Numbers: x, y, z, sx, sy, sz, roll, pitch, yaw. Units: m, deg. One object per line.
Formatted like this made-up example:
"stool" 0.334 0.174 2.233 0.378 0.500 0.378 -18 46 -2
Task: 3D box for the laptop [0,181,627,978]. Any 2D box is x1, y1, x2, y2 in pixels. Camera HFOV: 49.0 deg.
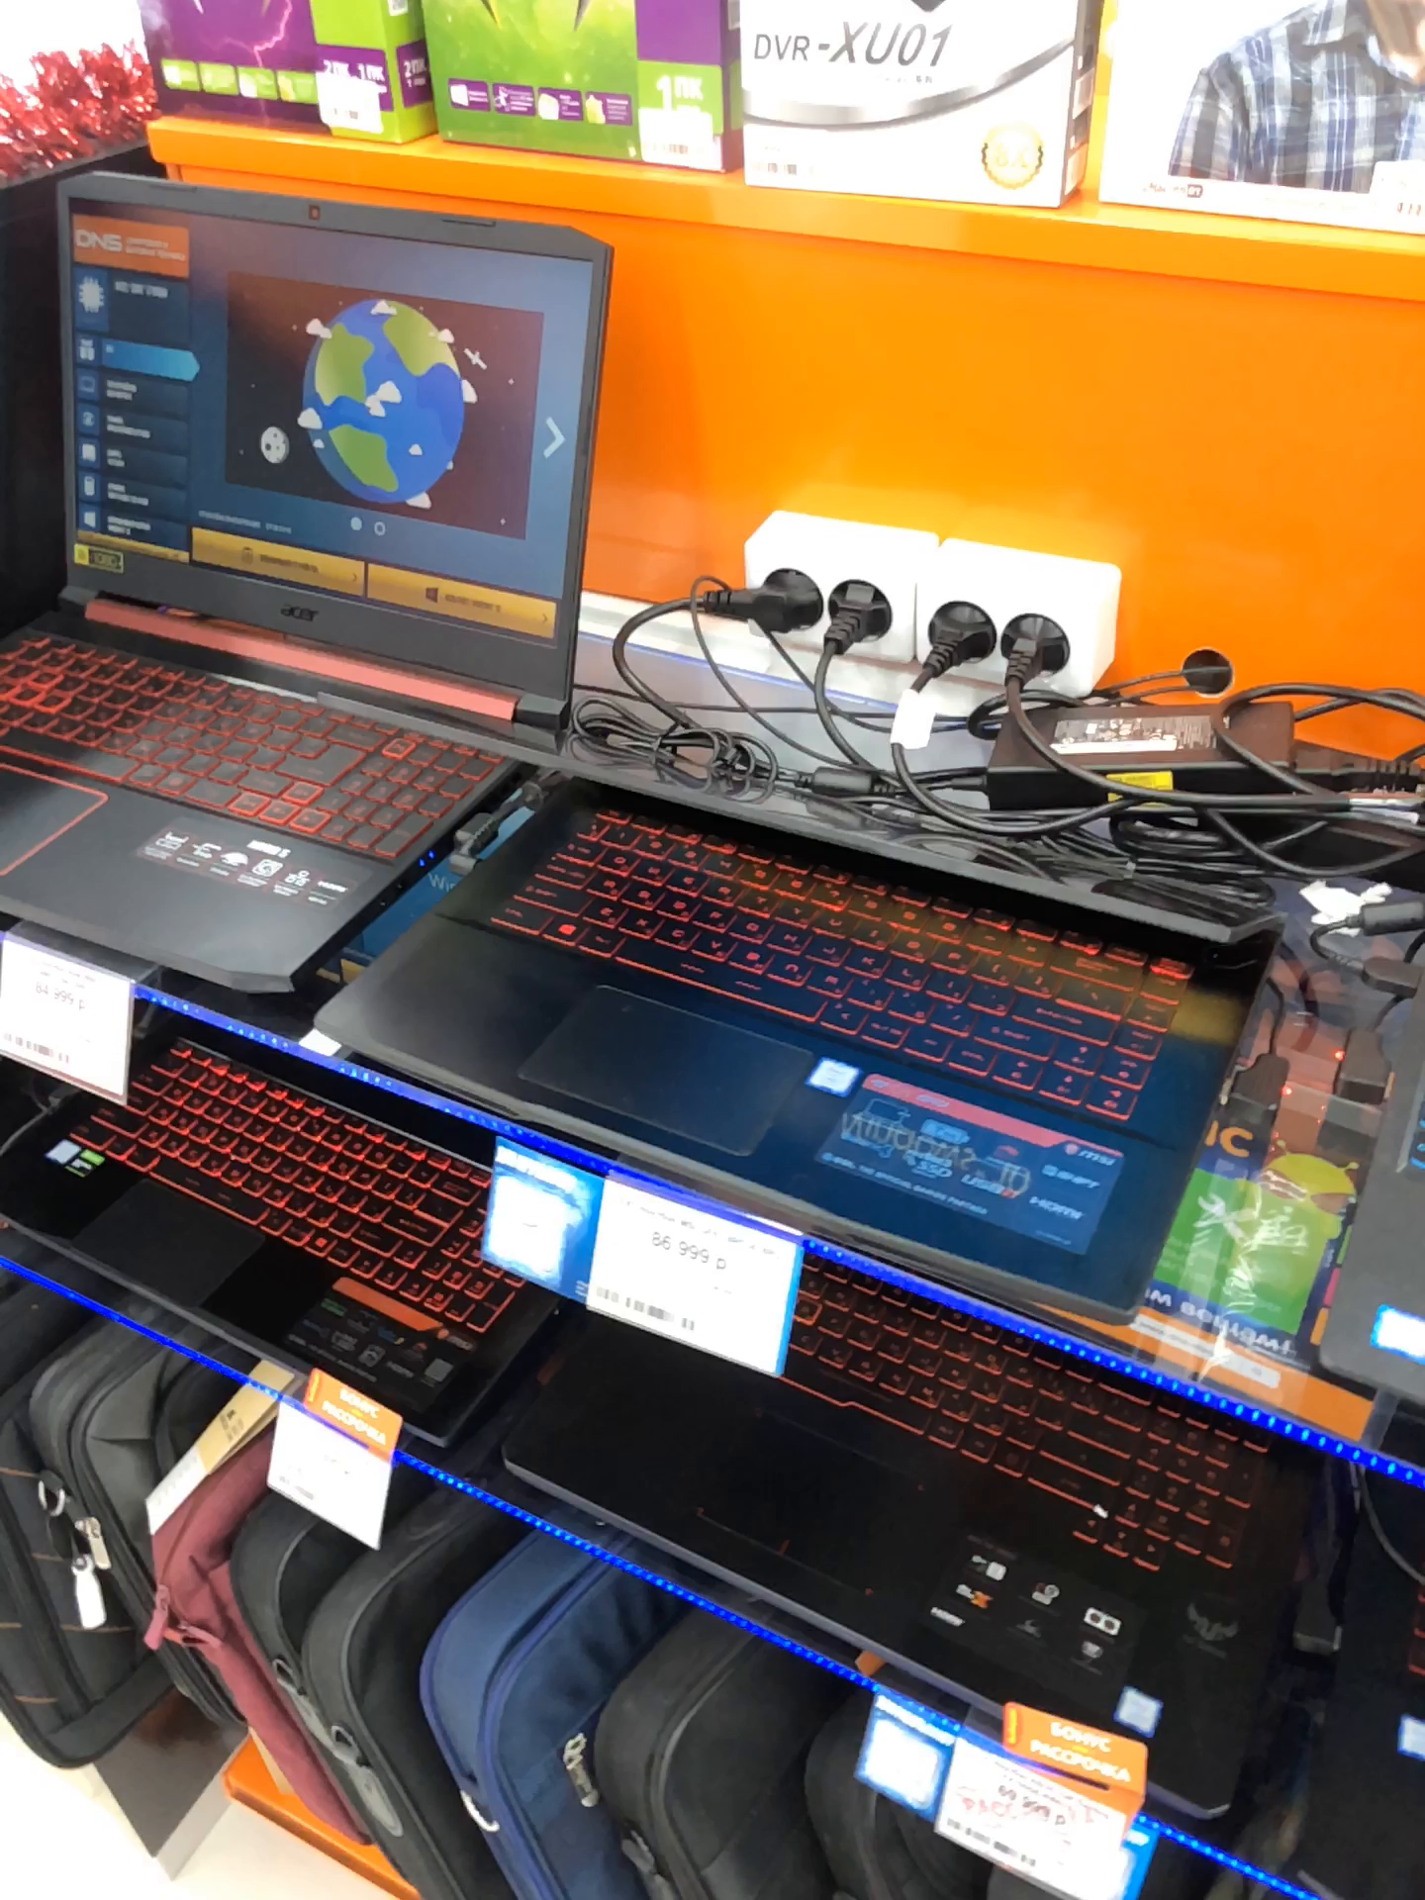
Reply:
"laptop" -0.288 -0.218 0.799 0.365 0.225 0.330 16 42 21

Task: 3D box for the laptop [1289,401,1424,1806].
"laptop" 0.411 0.006 0.460 0.326 0.228 0.279 18 42 27

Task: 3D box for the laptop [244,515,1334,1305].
"laptop" 0.036 -0.041 0.633 0.347 0.134 0.226 17 42 22
